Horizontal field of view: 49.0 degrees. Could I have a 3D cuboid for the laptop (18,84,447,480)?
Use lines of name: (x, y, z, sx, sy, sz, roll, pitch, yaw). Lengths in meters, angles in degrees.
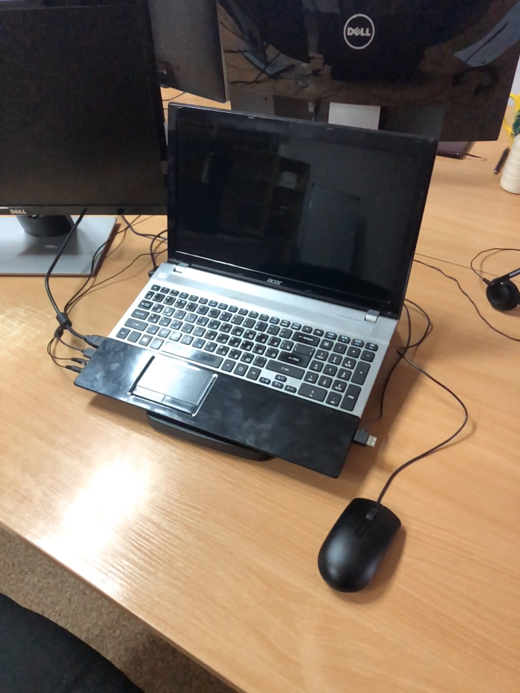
laptop: (-0.015, -0.110, 0.716, 0.370, 0.215, 0.353, 16, 53, 20)
